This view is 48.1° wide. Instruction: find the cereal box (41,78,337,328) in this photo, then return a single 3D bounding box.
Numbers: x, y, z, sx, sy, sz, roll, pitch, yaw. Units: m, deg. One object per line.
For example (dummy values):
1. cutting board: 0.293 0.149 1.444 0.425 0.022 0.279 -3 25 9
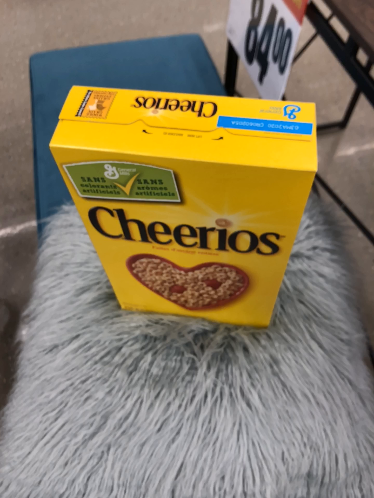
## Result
1. cereal box: 0.003 -0.020 0.440 0.210 0.290 0.080 5 58 3
